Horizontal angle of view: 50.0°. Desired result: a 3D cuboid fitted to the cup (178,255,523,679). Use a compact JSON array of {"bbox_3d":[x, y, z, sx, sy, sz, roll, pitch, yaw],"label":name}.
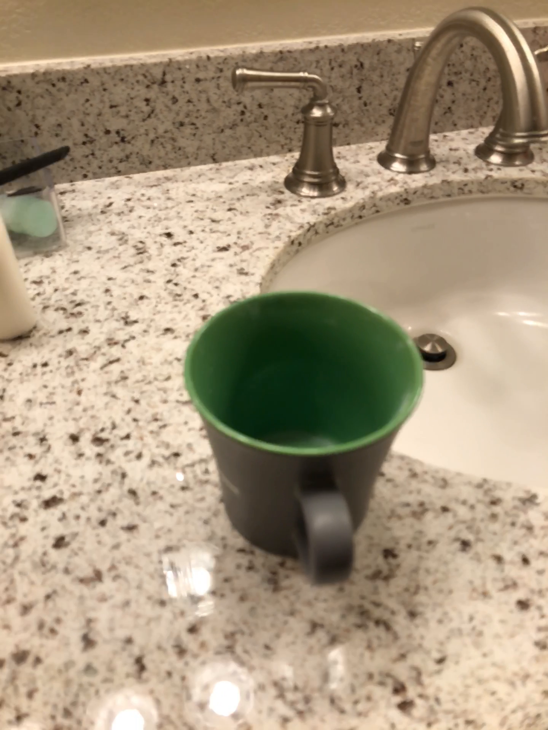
[{"bbox_3d":[0.017,0.040,0.270,0.100,0.109,0.141,-7,44,-8],"label":"cup"}]
